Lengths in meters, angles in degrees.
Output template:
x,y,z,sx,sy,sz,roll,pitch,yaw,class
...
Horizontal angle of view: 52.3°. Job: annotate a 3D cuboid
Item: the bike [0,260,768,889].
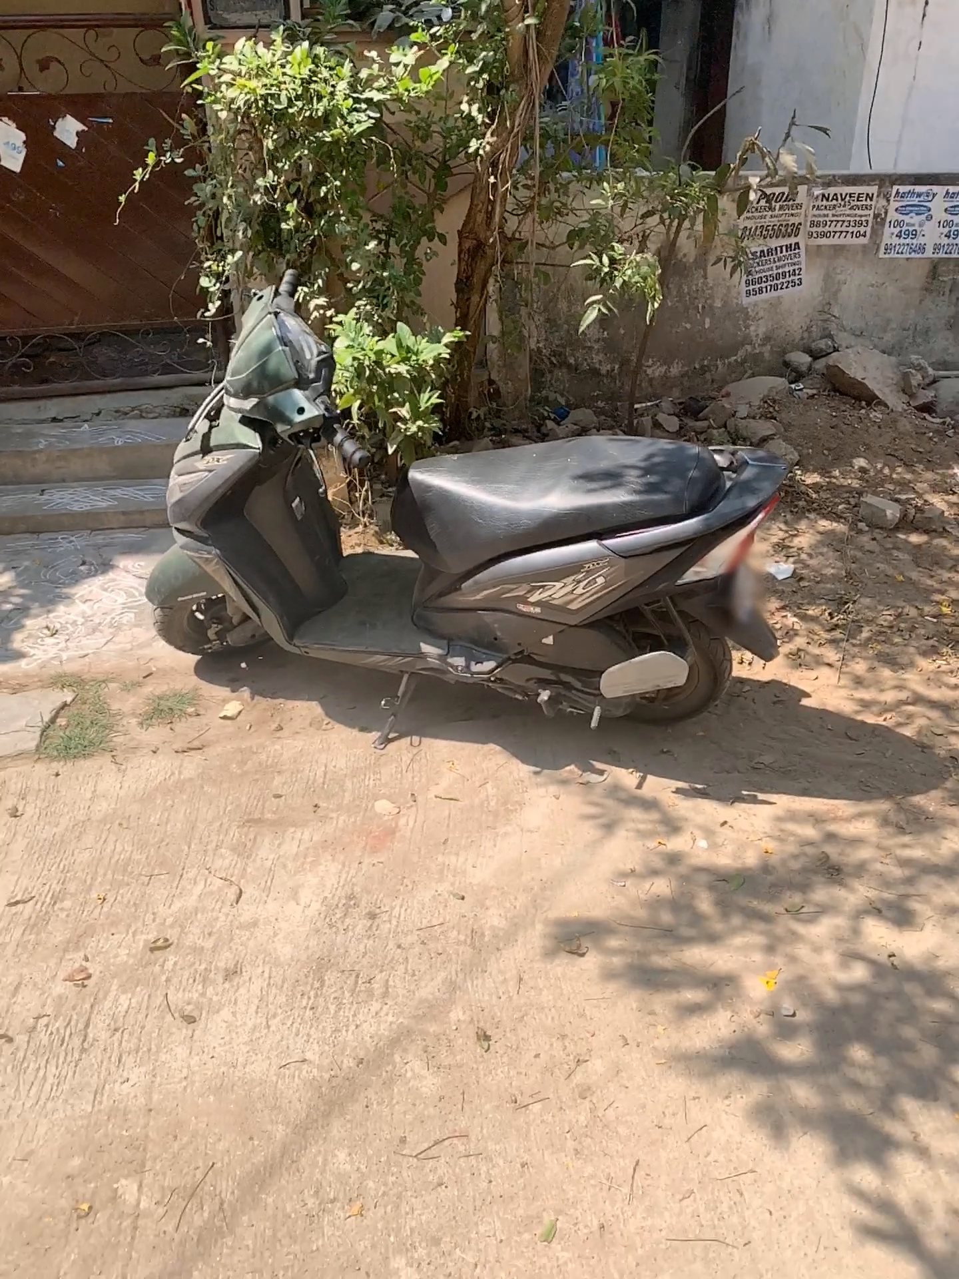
x,y,z,sx,sy,sz,roll,pitch,yaw,class
-0.206,-0.175,2.251,1.528,1.175,0.627,5,29,9,bike
